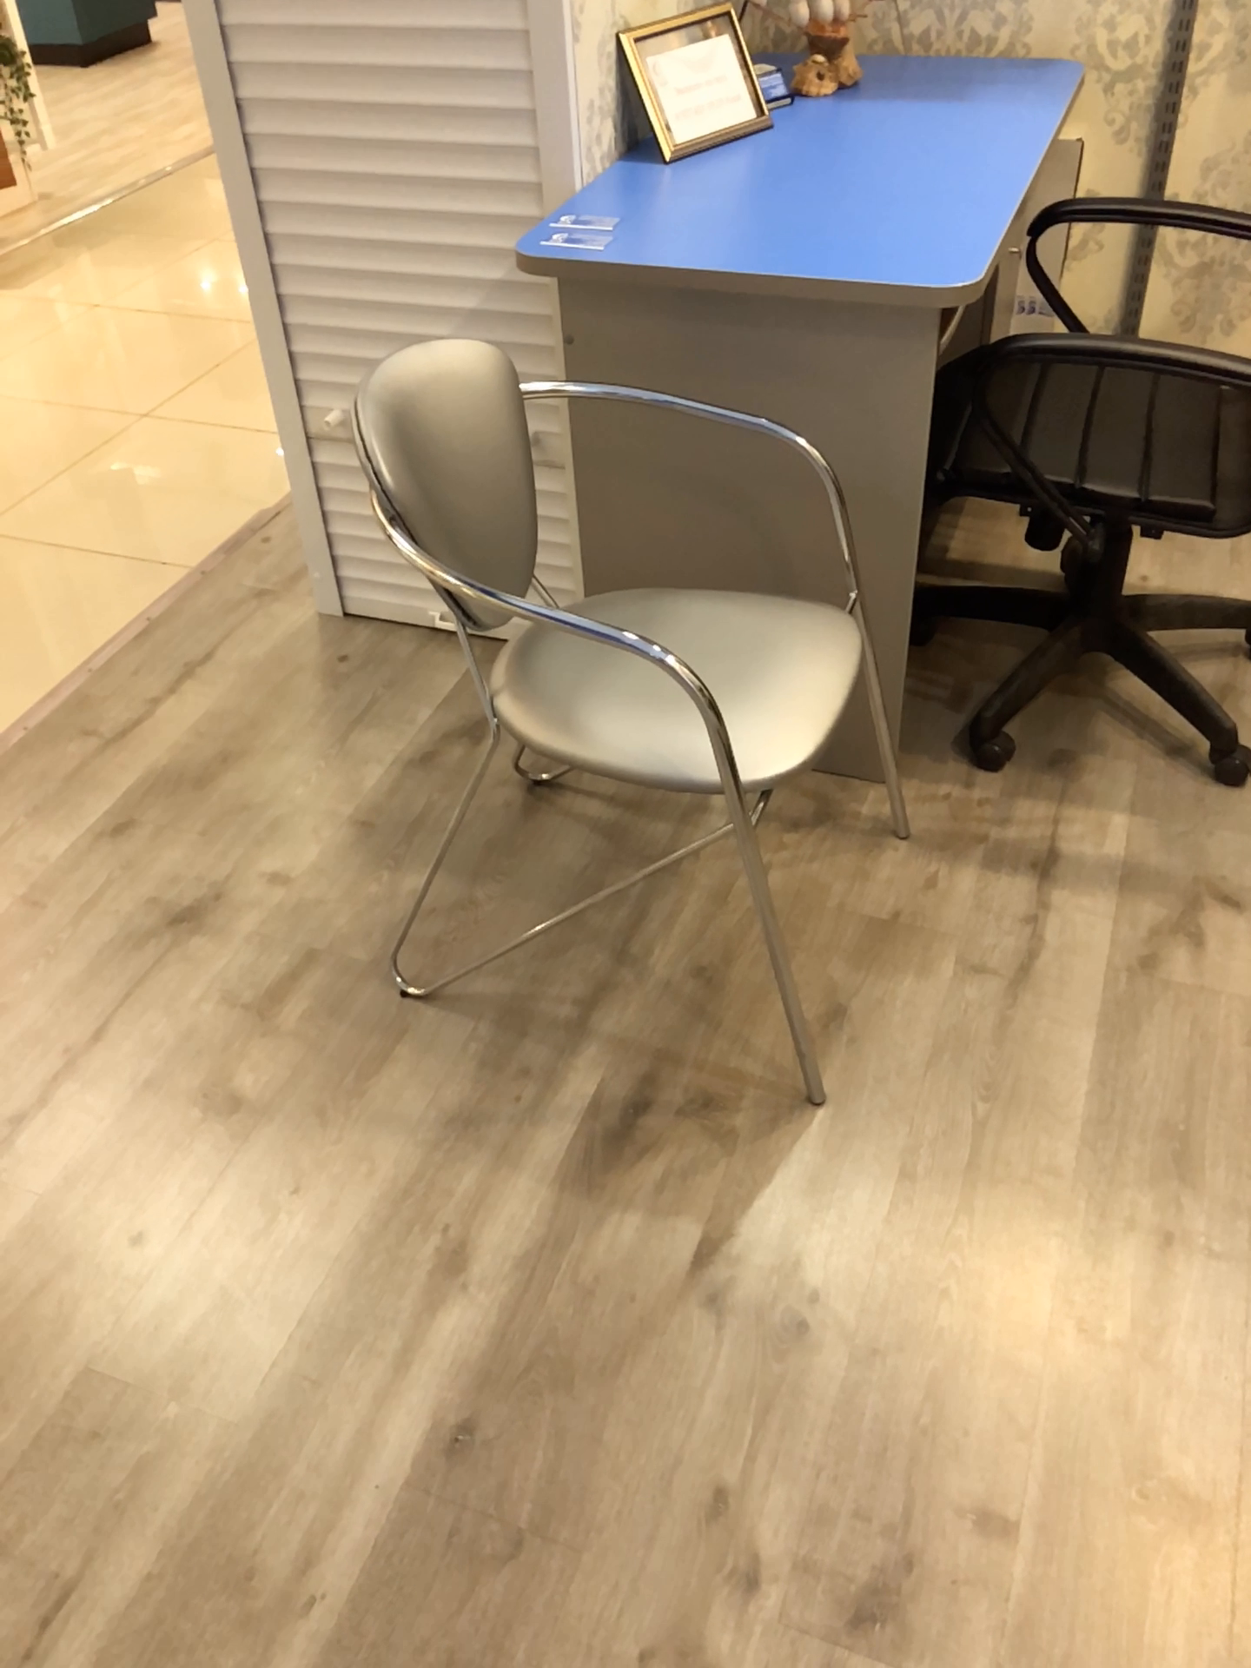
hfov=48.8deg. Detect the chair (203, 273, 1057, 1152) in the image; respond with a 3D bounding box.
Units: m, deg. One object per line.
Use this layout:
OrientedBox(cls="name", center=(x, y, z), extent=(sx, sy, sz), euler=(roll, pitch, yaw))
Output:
OrientedBox(cls="chair", center=(0.058, -0.174, 1.681), extent=(0.730, 0.746, 0.613), euler=(11, 43, 17))
